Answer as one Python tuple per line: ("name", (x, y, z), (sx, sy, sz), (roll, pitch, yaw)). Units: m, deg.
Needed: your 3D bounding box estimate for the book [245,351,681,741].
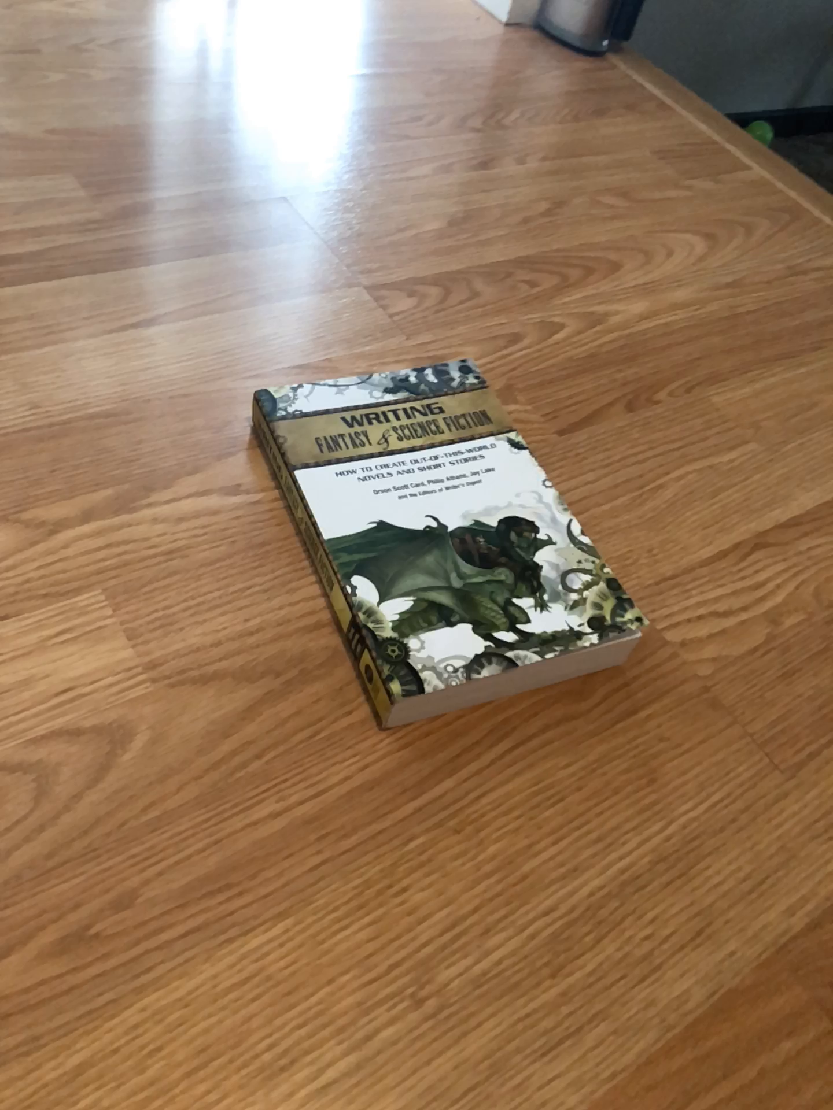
("book", (0.017, -0.022, 0.531), (0.165, 0.040, 0.228), (-12, 54, -25))
